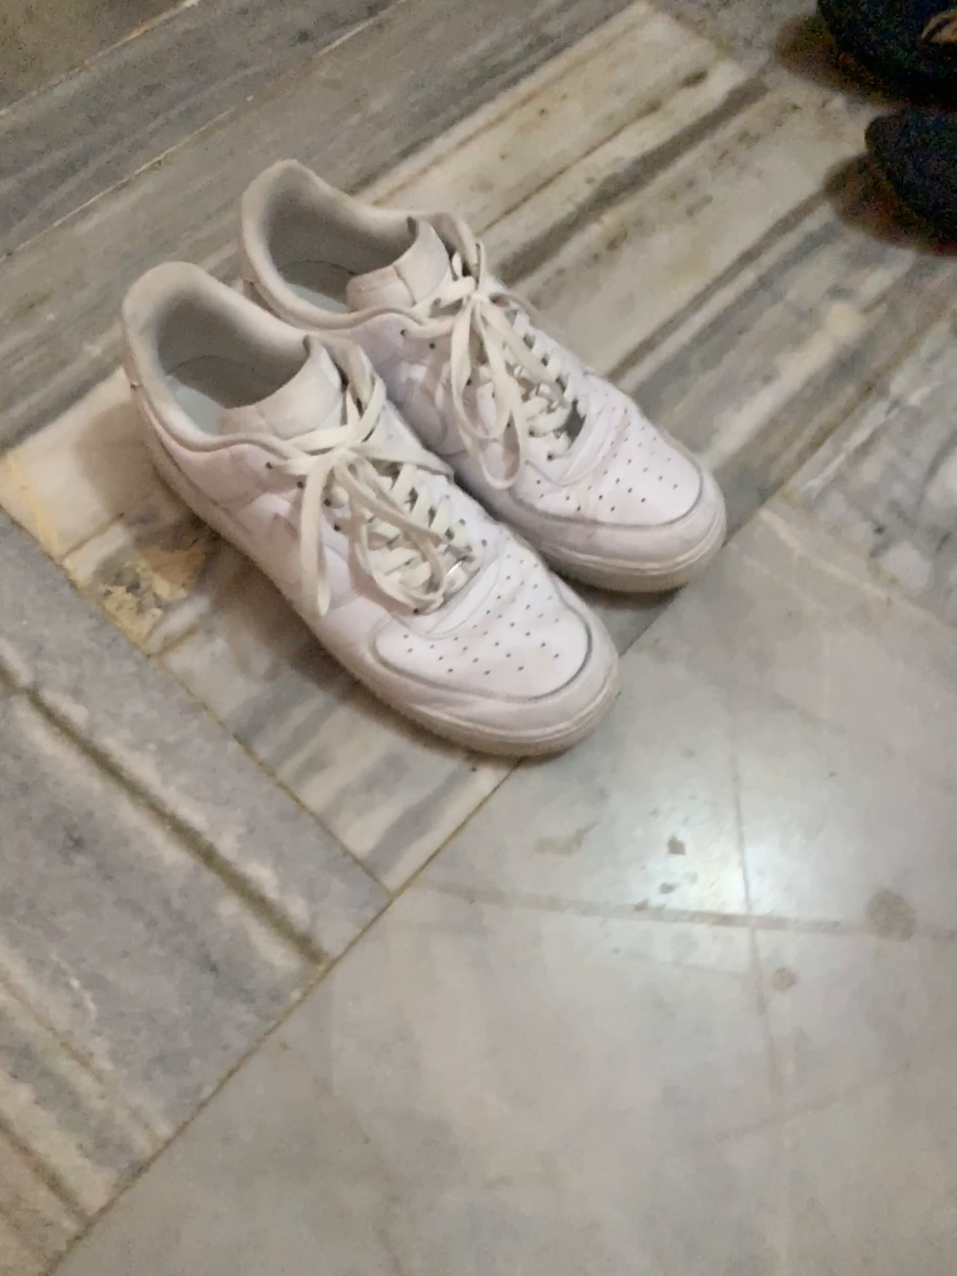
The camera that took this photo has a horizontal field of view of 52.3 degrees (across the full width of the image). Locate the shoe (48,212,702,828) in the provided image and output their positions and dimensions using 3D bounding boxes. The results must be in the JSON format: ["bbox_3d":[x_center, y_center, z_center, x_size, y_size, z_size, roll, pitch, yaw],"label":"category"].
[{"bbox_3d":[-0.057,-0.059,0.503,0.310,0.120,0.110,41,70,12],"label":"shoe"}]

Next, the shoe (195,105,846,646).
[{"bbox_3d":[0.015,-0.141,0.535,0.310,0.120,0.110,31,68,8],"label":"shoe"}]
